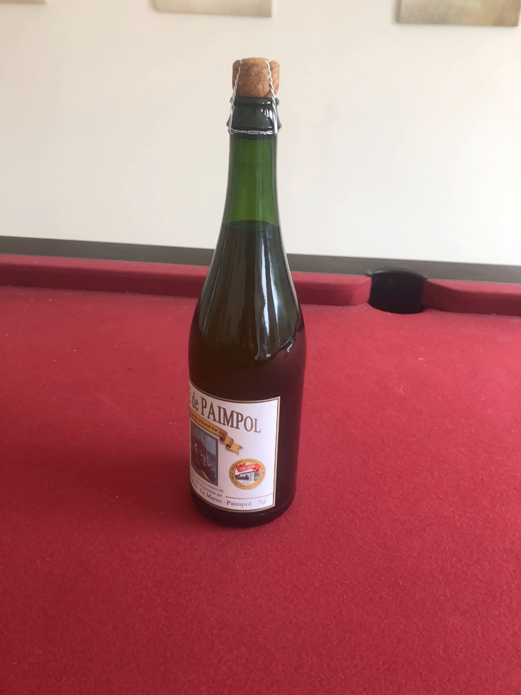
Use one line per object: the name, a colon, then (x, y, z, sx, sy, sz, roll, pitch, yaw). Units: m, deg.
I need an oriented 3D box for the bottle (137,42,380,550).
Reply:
bottle: (-0.006, -0.030, 0.379, 0.090, 0.298, 0.101, 24, 33, 38)
